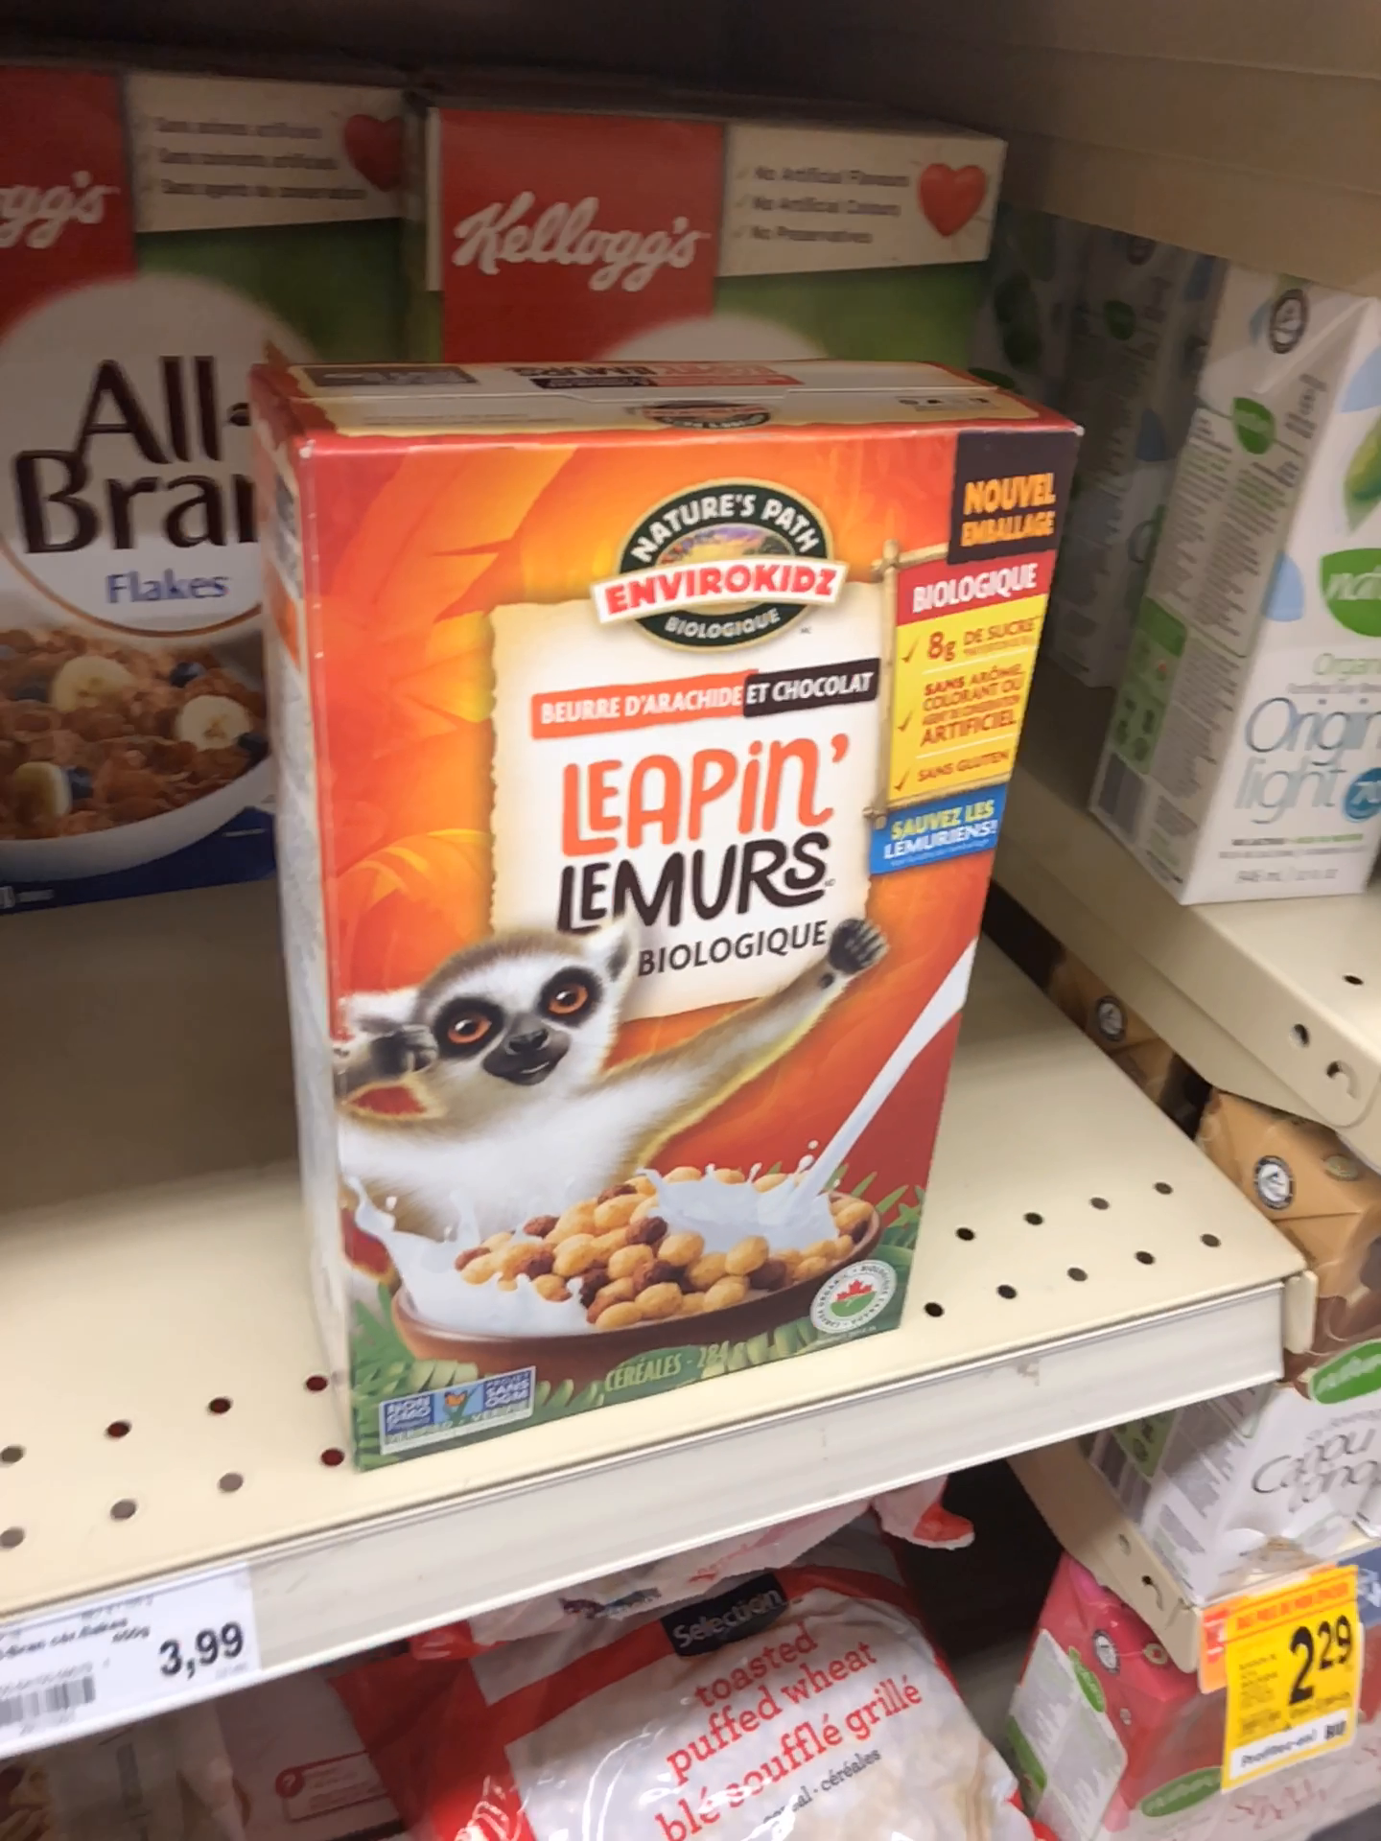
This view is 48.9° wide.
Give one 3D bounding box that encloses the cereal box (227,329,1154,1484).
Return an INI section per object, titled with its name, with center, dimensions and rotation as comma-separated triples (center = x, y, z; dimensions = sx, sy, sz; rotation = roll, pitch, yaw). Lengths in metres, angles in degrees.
[cereal box]
center = -0.009, 0.000, 0.368
dimensions = 0.170, 0.258, 0.070
rotation = -8, 34, -21
